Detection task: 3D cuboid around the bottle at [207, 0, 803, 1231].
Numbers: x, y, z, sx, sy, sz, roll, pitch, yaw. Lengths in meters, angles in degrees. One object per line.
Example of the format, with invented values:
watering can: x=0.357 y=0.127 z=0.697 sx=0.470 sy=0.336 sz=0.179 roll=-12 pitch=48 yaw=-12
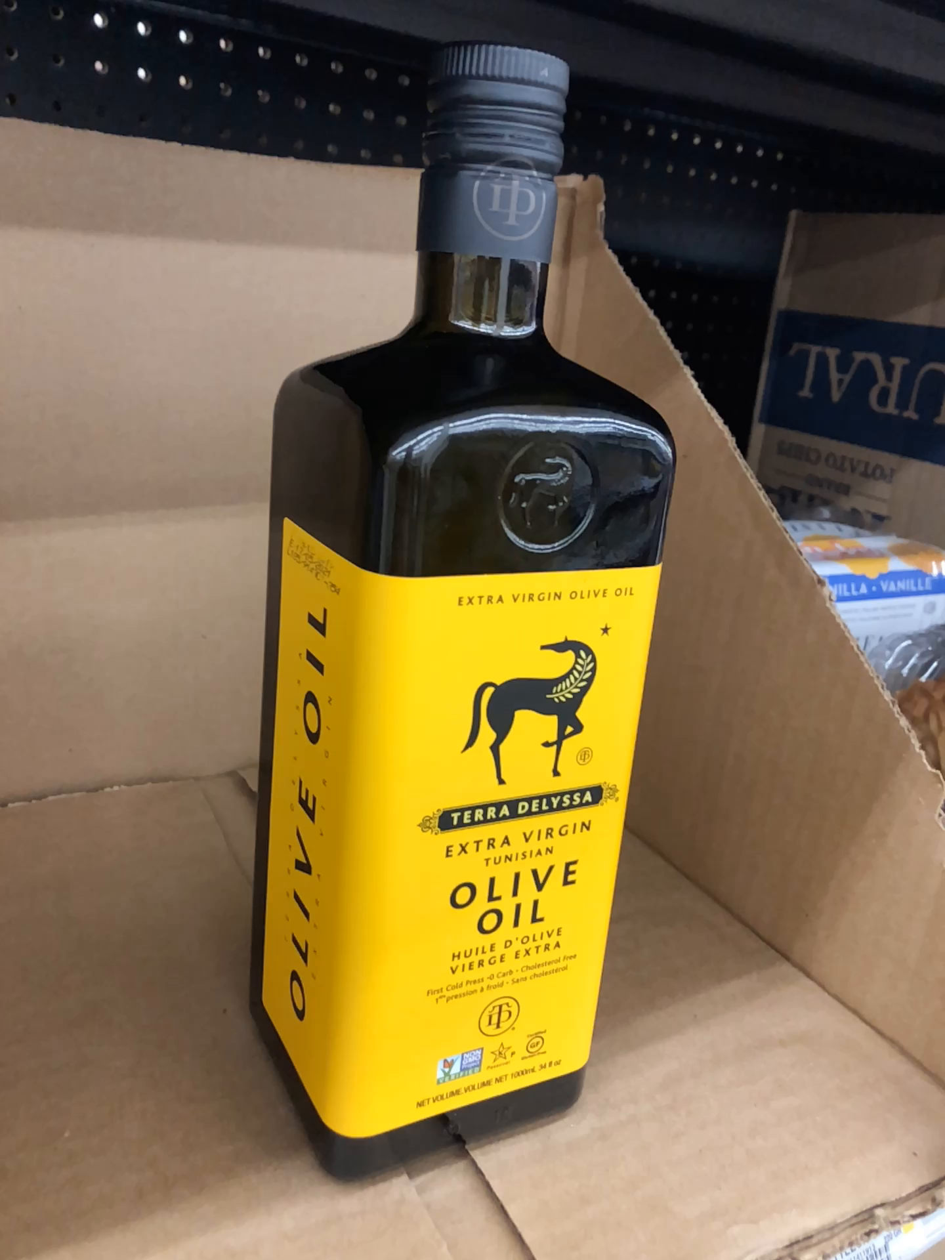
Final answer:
bottle: x=-0.010 y=-0.002 z=0.275 sx=0.090 sy=0.288 sz=0.090 roll=6 pitch=20 yaw=-2
